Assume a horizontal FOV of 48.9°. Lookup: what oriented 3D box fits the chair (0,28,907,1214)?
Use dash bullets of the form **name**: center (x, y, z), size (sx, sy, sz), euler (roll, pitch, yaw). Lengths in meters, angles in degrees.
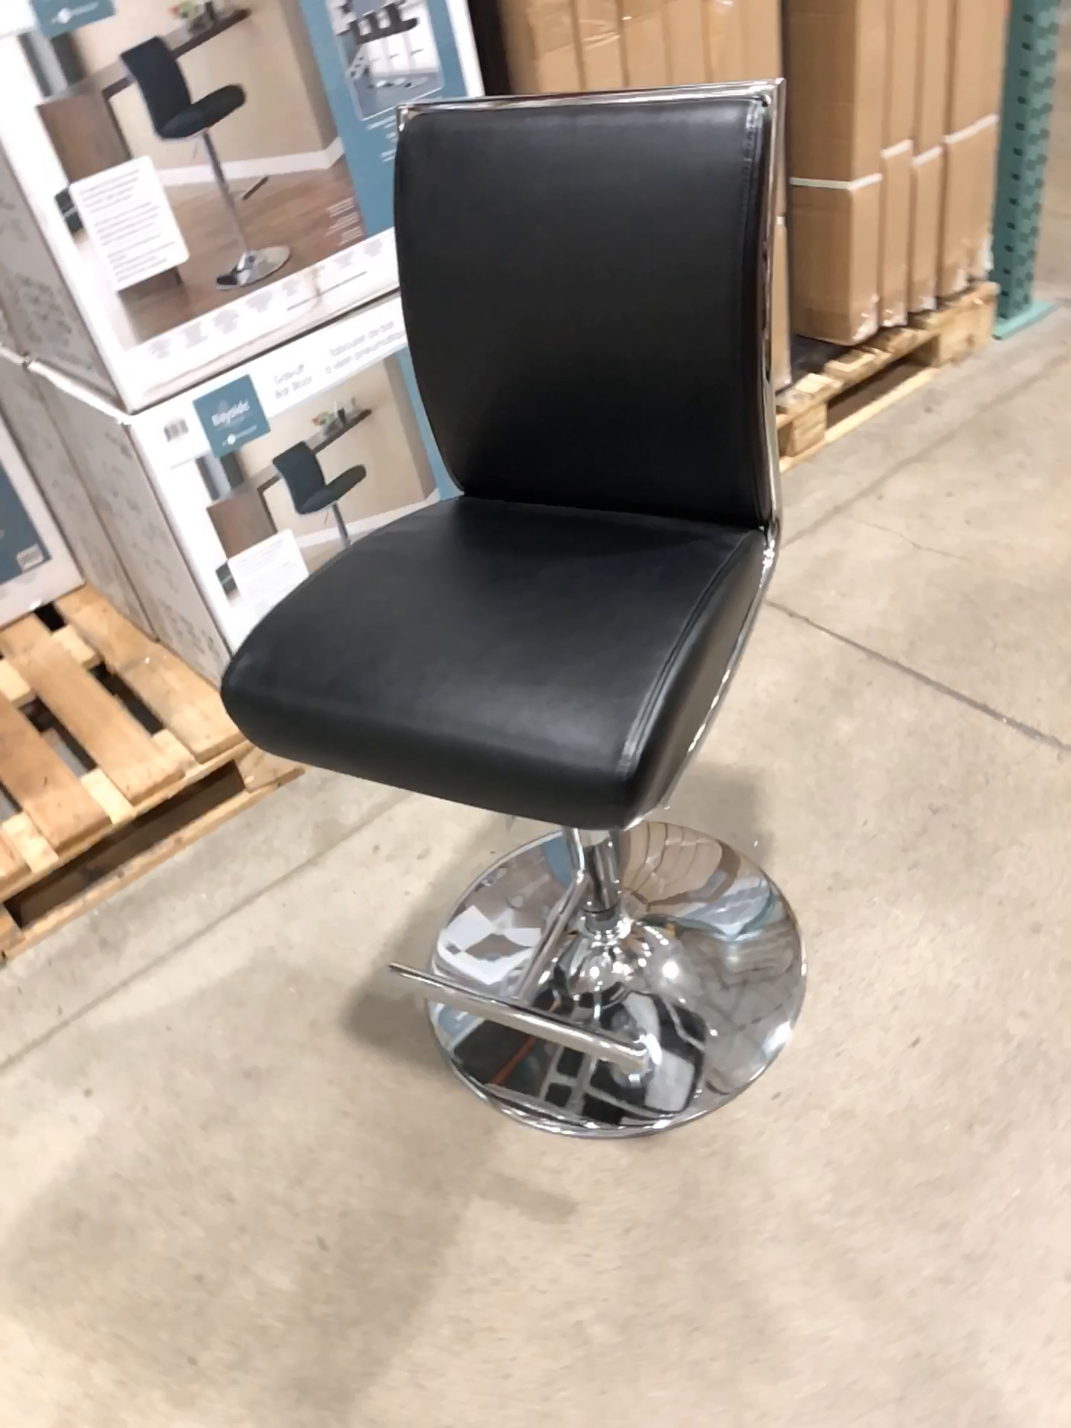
- **chair**: center (0.027, -0.062, 1.179), size (0.531, 0.946, 0.541), euler (9, 44, 23)
